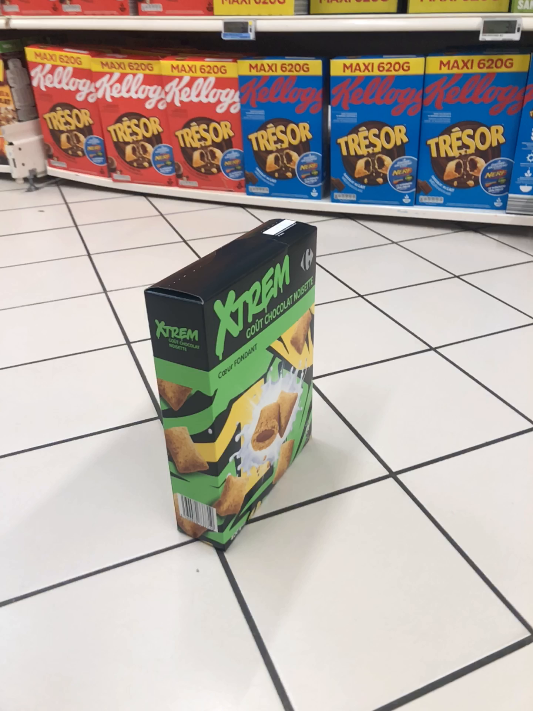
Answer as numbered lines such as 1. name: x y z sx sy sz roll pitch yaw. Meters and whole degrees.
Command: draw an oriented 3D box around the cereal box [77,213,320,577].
1. cereal box: -0.040 0.024 0.518 0.090 0.239 0.201 15 33 26
